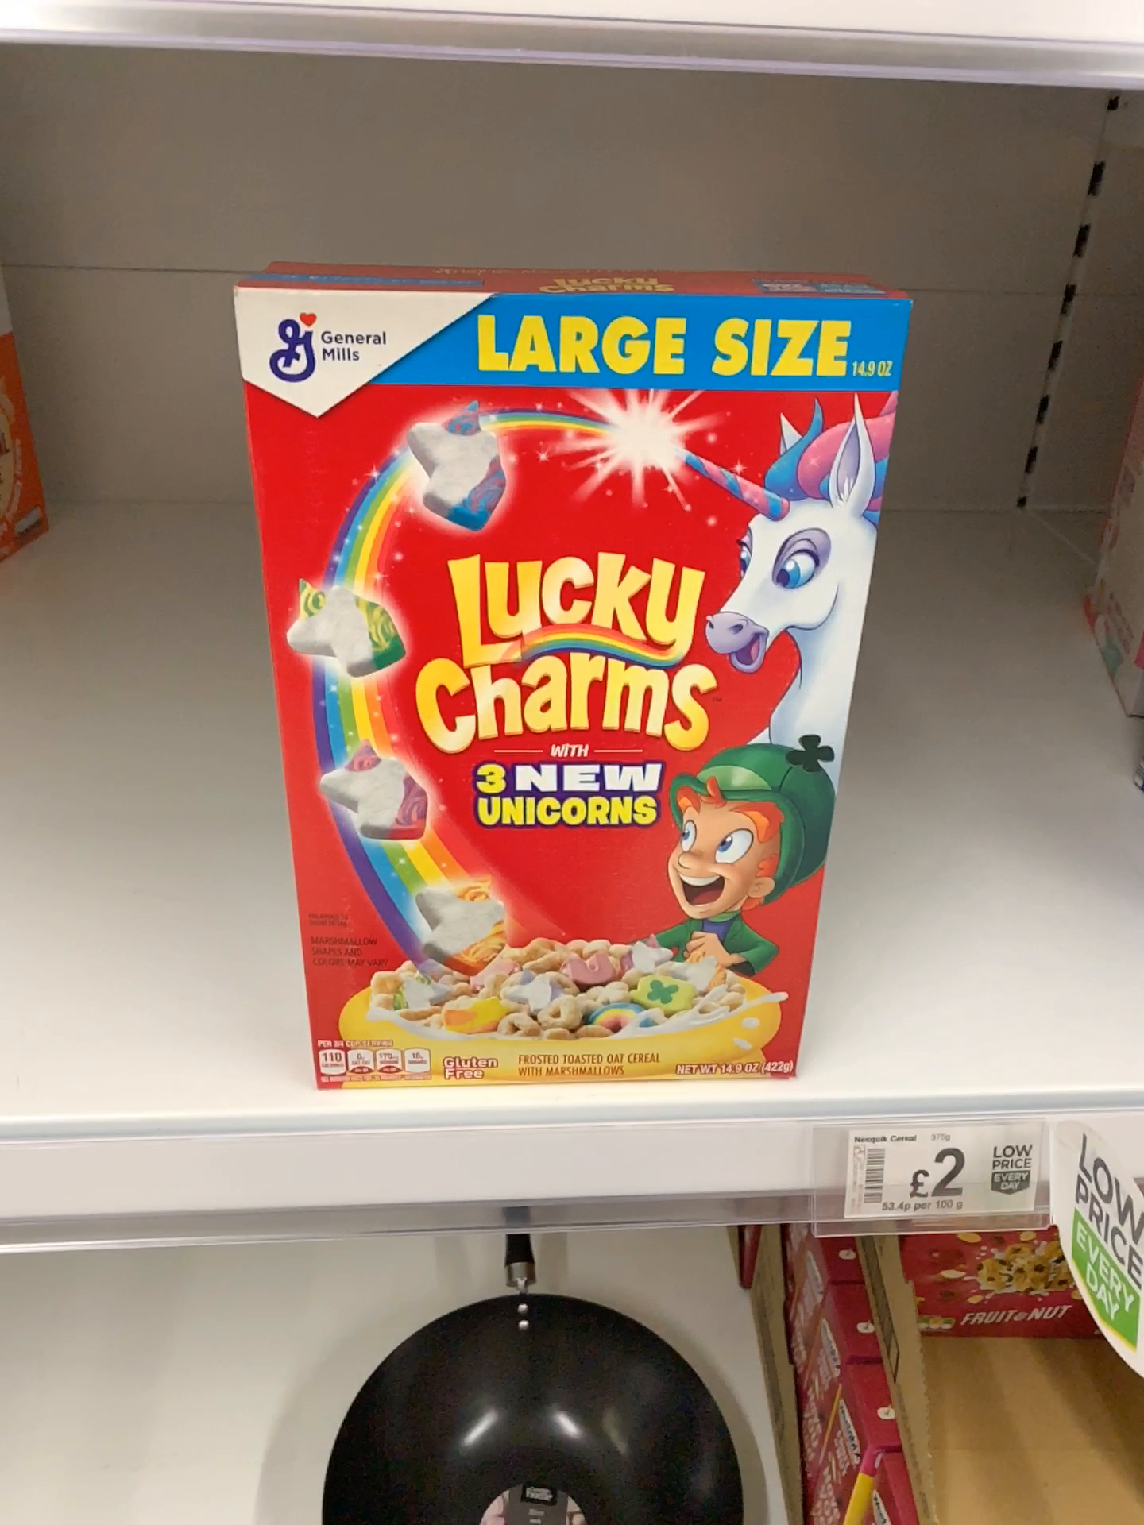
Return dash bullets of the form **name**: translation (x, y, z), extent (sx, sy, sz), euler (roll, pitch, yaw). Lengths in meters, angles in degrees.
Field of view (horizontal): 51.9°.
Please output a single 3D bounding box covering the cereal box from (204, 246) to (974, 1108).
- **cereal box**: translation (0.000, -0.016, 0.420), extent (0.210, 0.297, 0.071), euler (0, 28, -5)
